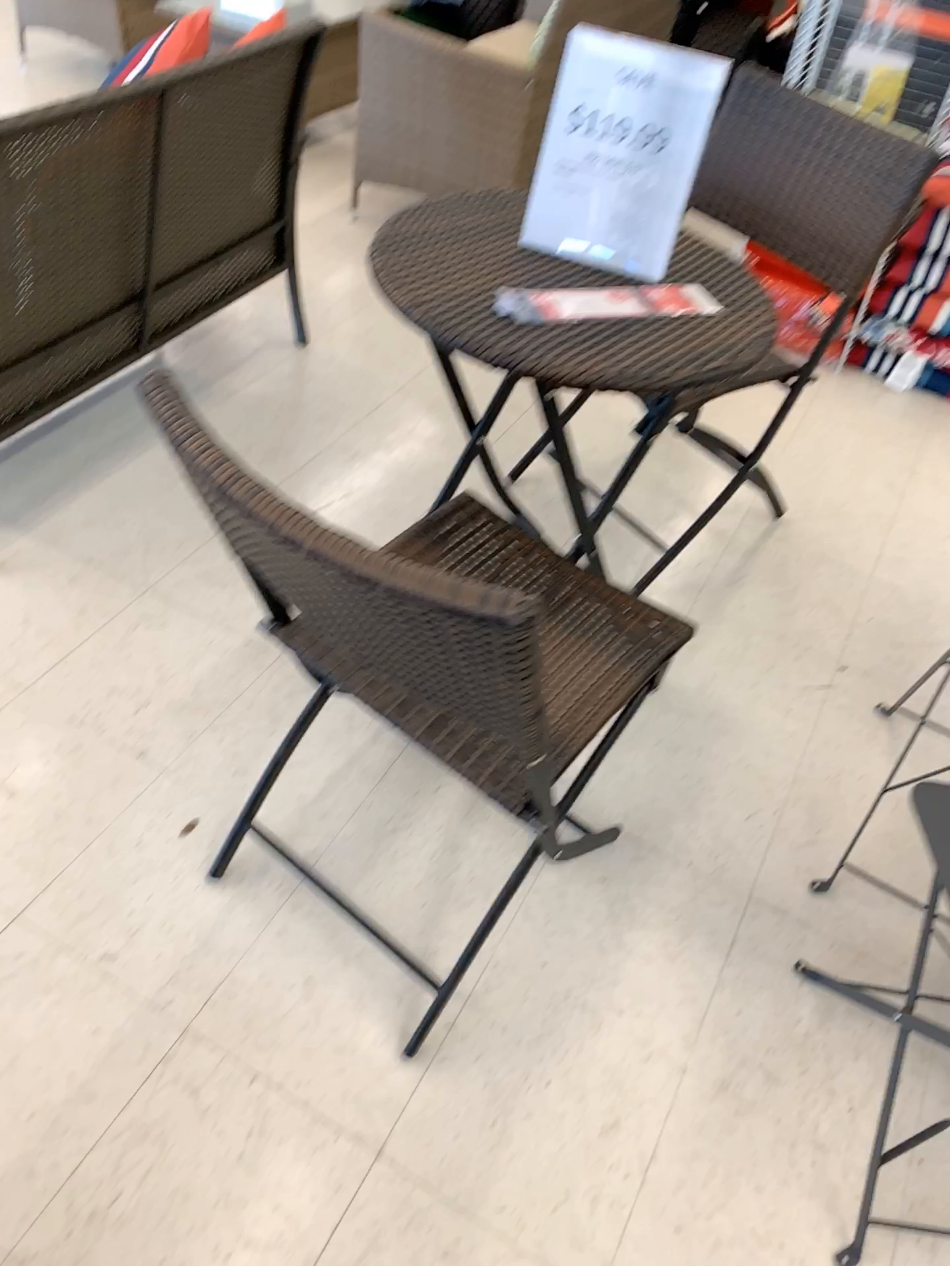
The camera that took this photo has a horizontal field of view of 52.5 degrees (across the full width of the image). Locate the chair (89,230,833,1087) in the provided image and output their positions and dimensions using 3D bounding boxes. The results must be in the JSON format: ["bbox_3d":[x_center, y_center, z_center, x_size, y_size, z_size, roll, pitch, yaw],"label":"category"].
[{"bbox_3d":[-0.031,0.042,1.167,0.481,0.766,0.511,33,50,23],"label":"chair"}]
